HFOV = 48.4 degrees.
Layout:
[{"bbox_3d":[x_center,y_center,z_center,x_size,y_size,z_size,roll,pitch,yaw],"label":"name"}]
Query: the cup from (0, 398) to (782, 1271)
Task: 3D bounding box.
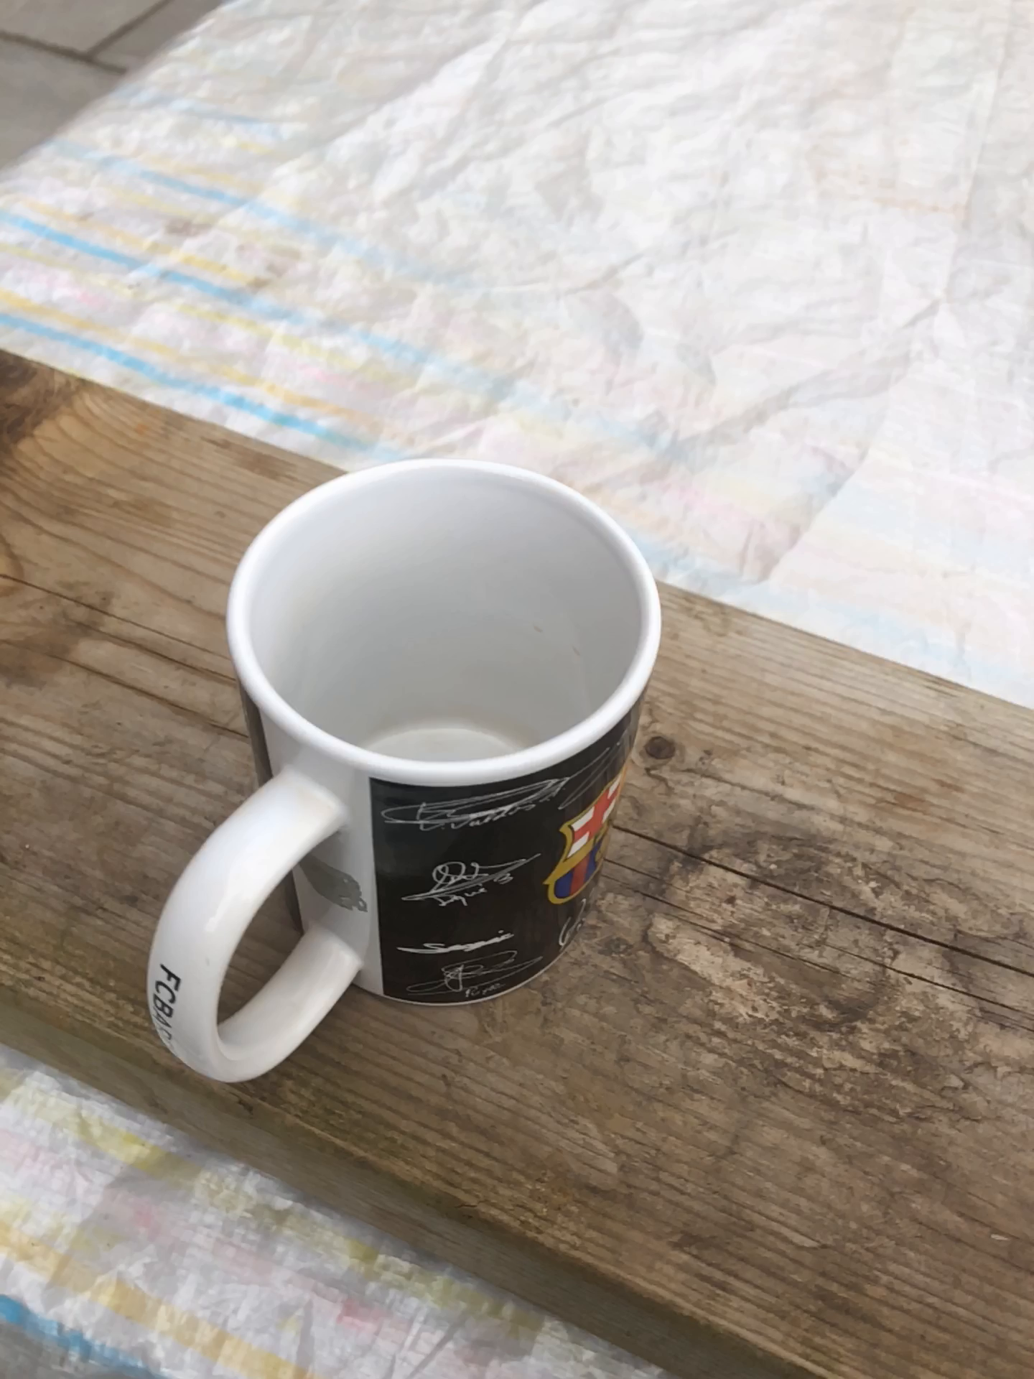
[{"bbox_3d":[-0.024,0.026,0.242,0.090,0.089,0.131,30,55,15],"label":"cup"}]
